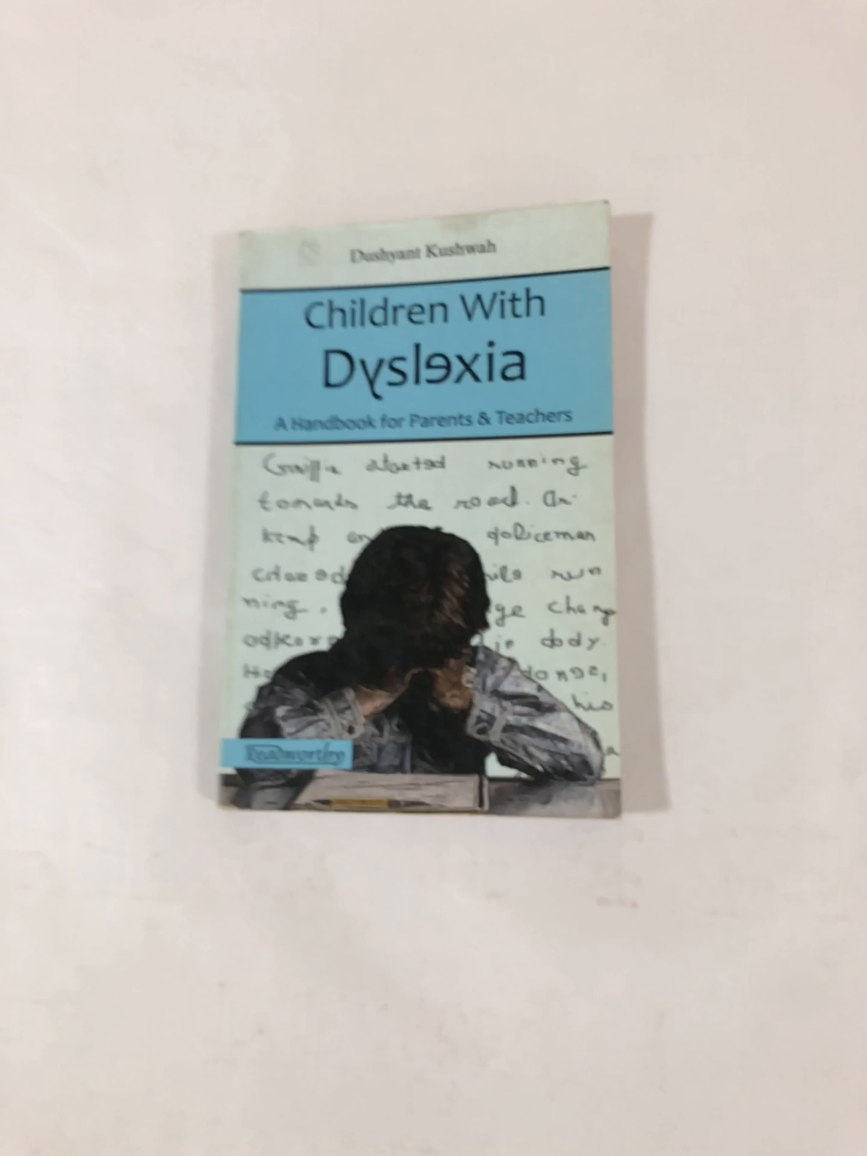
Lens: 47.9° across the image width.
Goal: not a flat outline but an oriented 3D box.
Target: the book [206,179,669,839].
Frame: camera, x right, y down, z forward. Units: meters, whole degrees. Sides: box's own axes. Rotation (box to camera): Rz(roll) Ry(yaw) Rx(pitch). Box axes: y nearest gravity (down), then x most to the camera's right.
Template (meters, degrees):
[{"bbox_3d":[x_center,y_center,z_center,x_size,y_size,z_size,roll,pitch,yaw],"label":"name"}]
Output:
[{"bbox_3d":[0.001,-0.024,0.344,0.150,0.030,0.220,-1,81,9],"label":"book"}]
